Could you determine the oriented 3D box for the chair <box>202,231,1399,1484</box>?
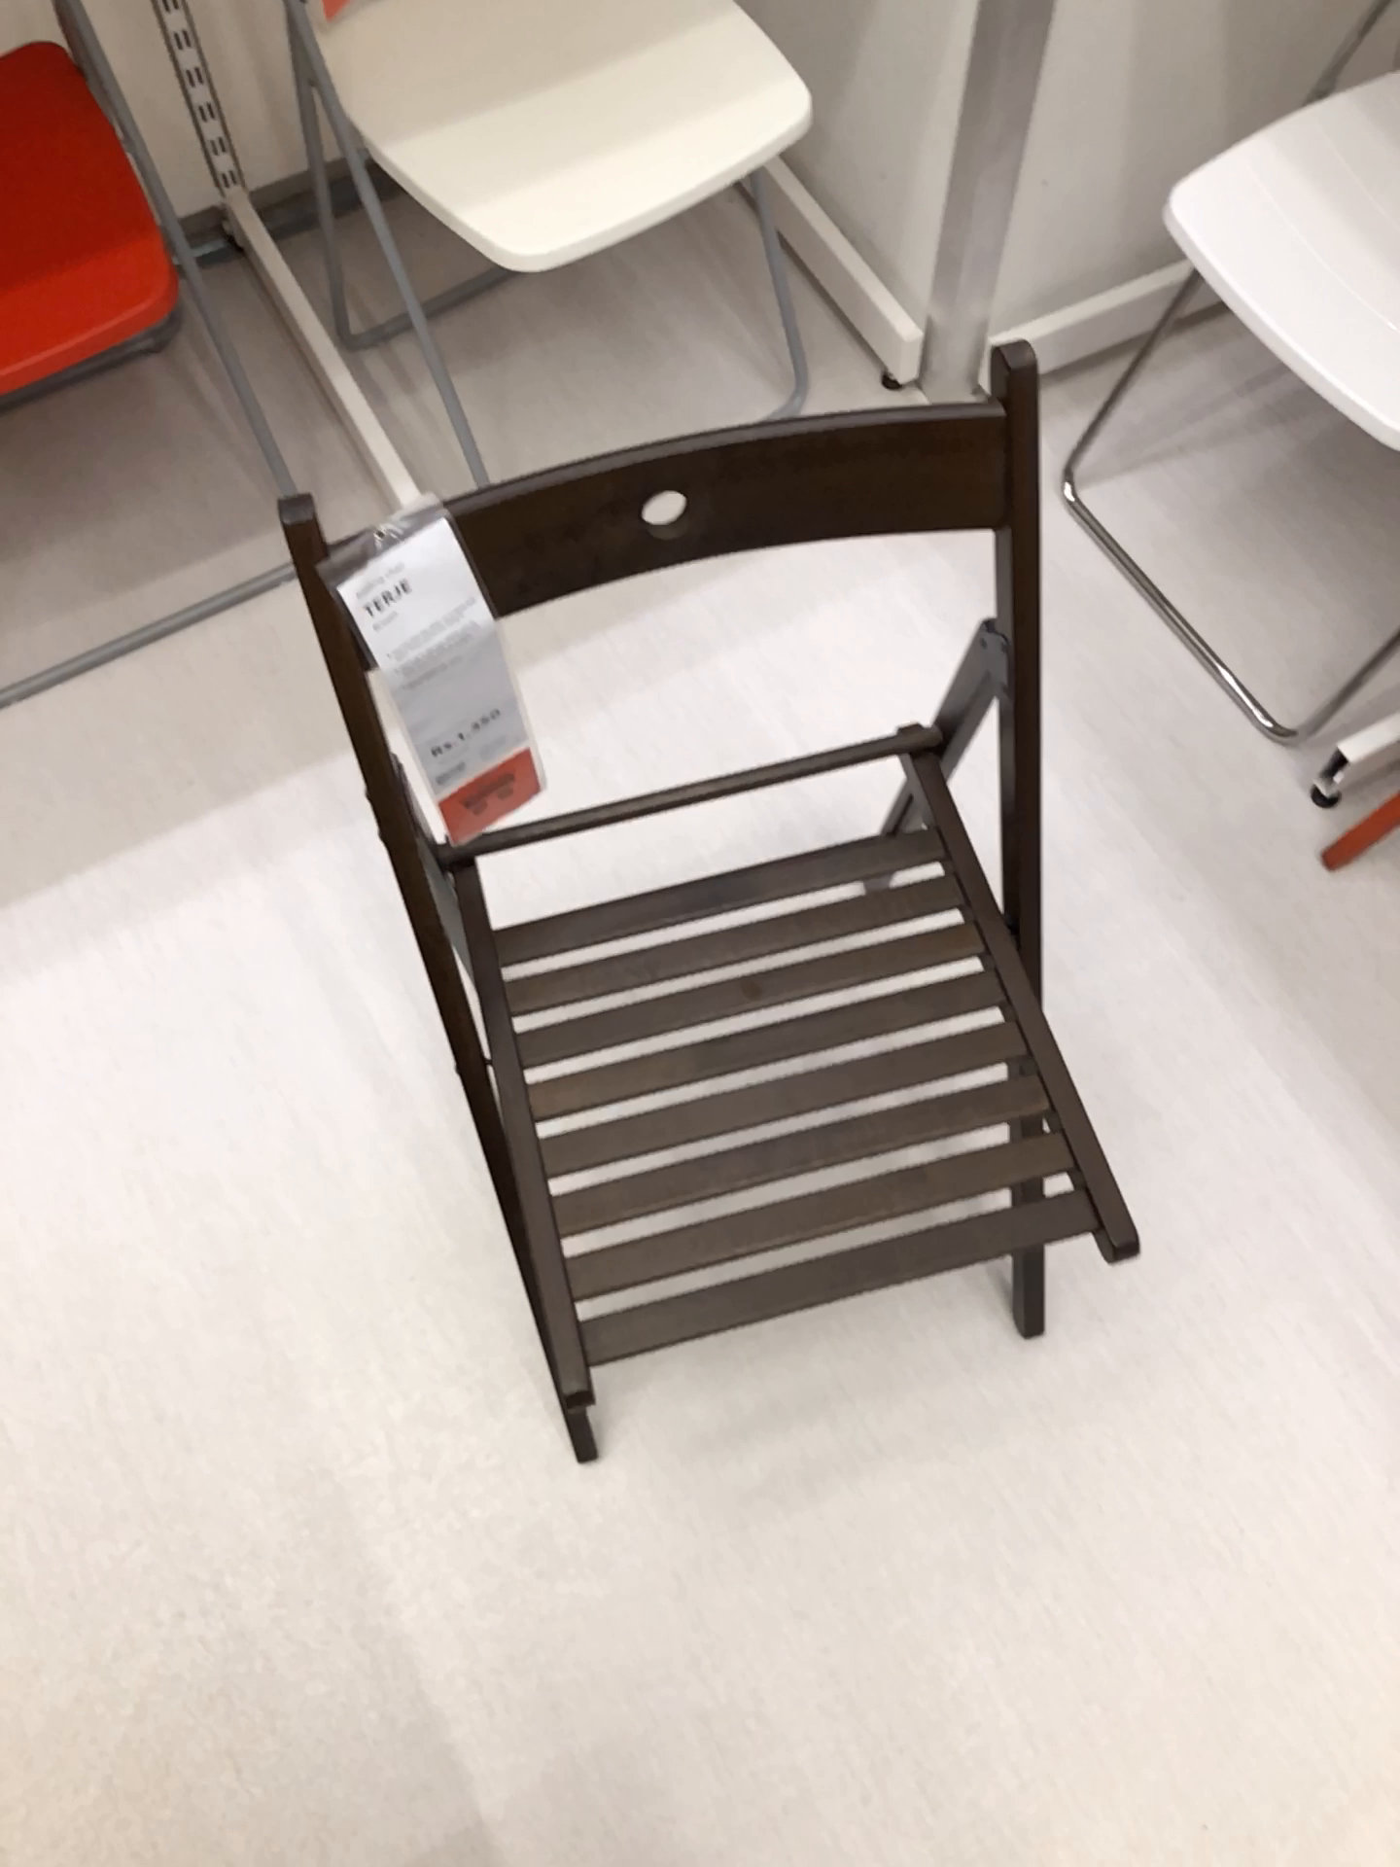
[{"bbox_3d":[0.025,0.039,1.100,0.460,0.777,0.502,-14,66,-6],"label":"chair"}]
